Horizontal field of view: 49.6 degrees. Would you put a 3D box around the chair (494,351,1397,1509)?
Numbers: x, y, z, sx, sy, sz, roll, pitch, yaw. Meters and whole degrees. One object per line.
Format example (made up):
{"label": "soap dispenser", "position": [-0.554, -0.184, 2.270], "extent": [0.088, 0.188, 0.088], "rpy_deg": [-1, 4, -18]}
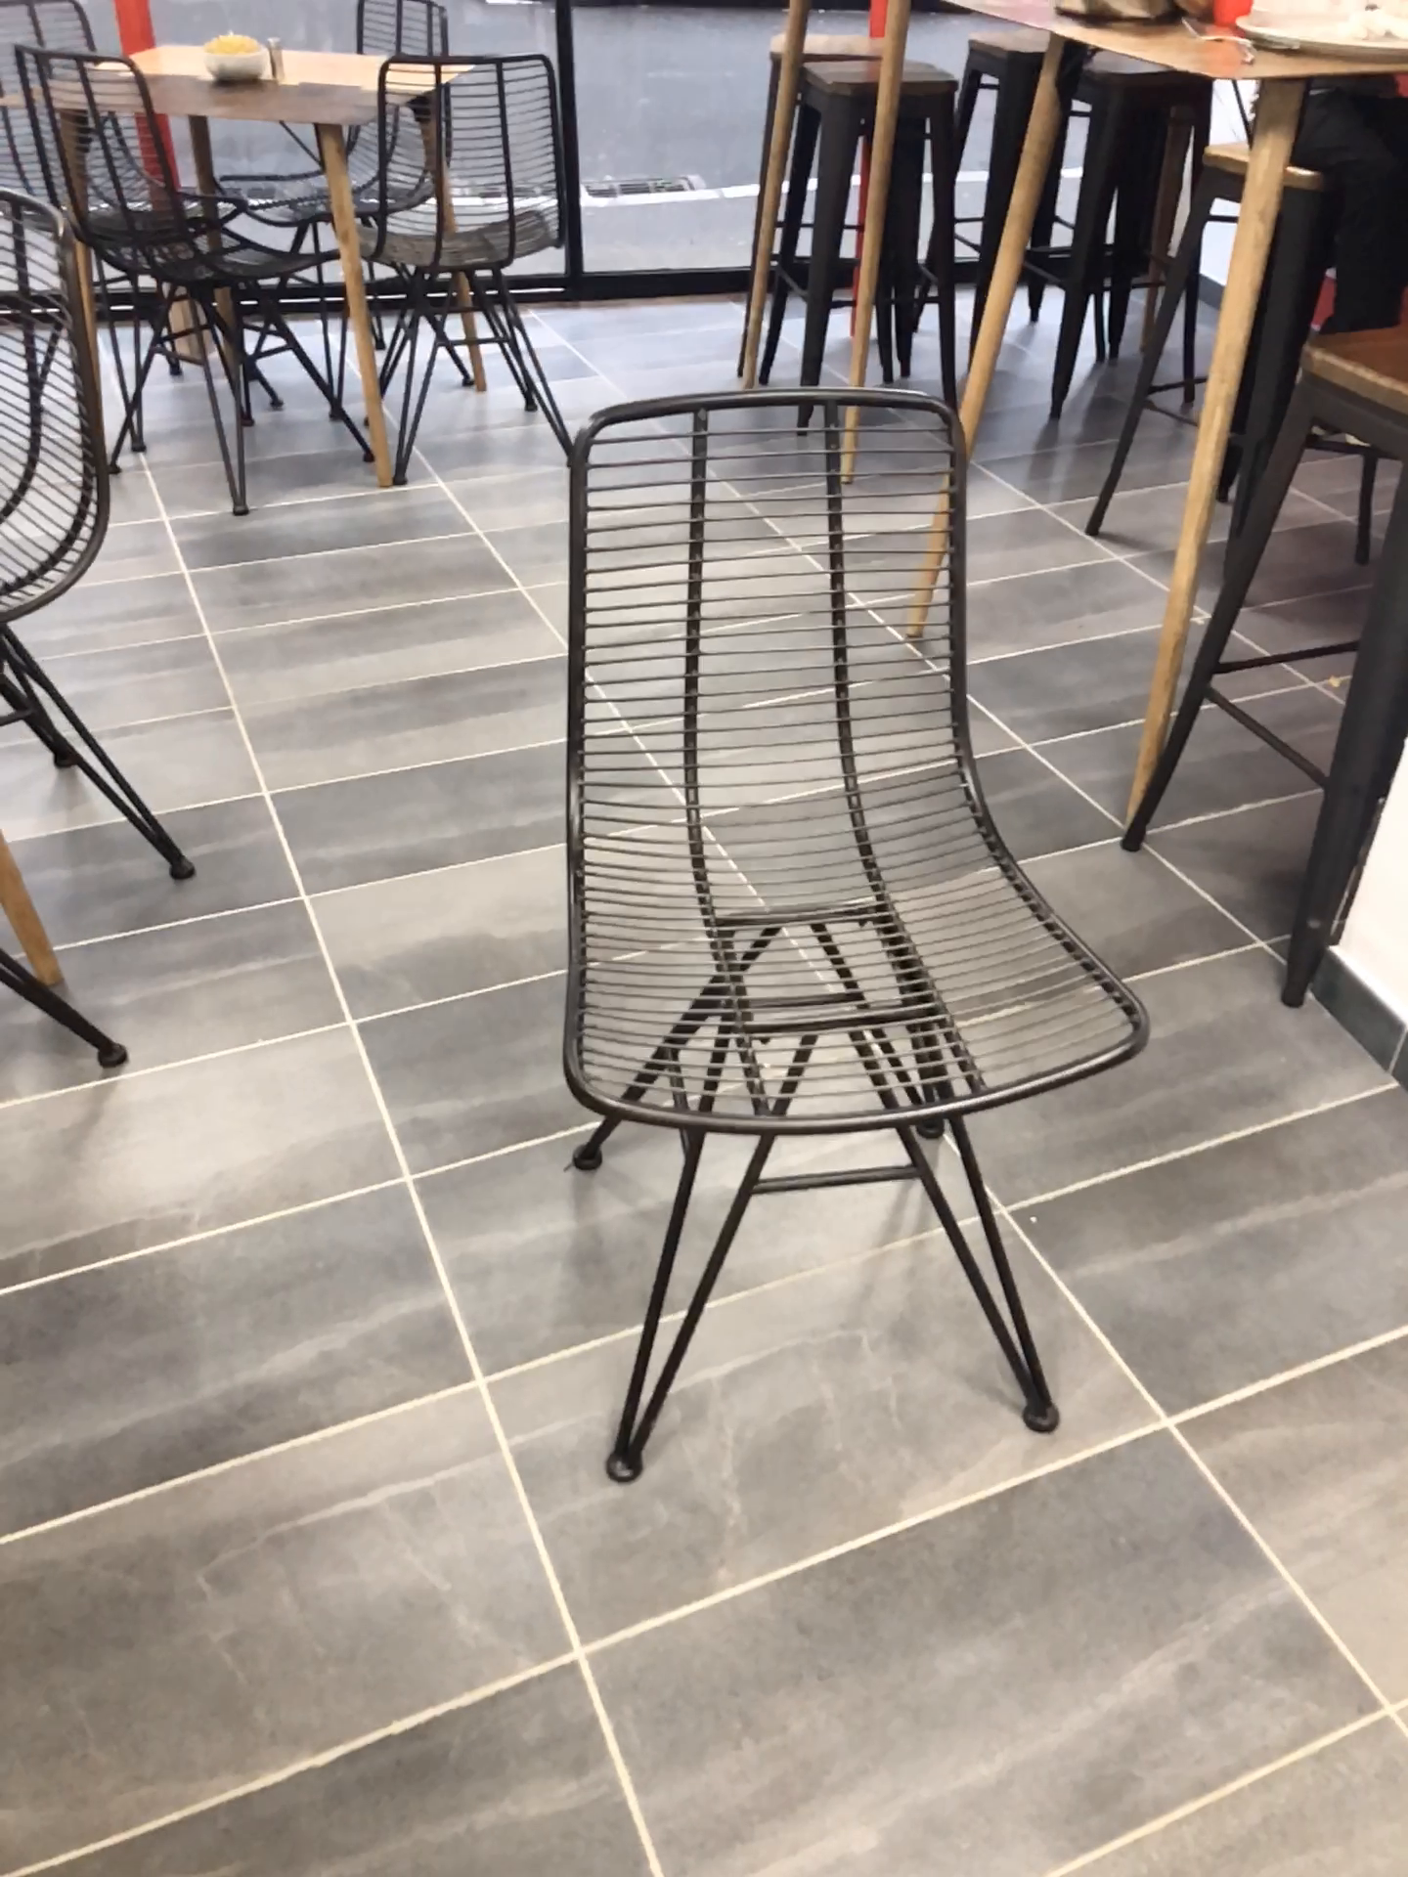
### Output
{"label": "chair", "position": [0.110, -0.010, 1.289], "extent": [0.500, 0.785, 0.523], "rpy_deg": [-4, 37, -7]}
